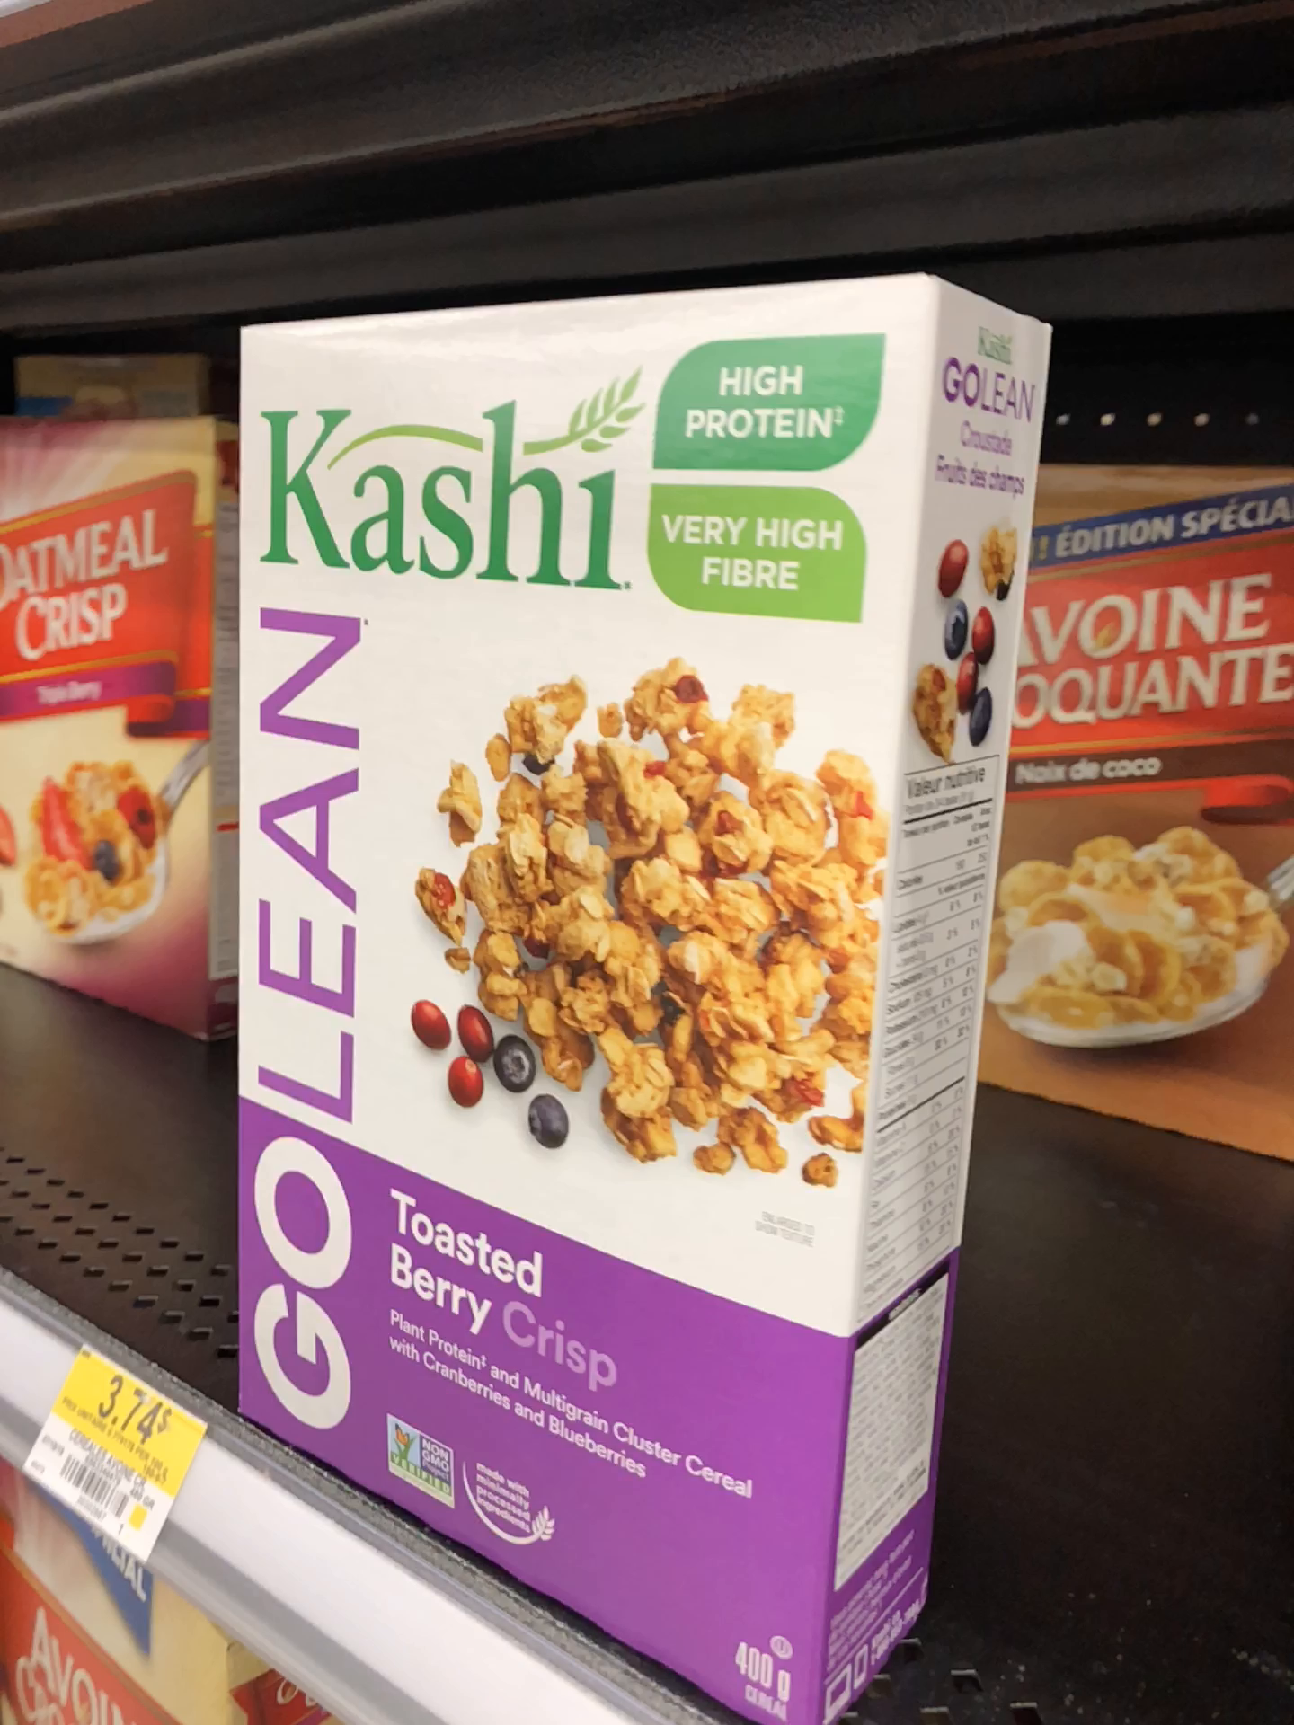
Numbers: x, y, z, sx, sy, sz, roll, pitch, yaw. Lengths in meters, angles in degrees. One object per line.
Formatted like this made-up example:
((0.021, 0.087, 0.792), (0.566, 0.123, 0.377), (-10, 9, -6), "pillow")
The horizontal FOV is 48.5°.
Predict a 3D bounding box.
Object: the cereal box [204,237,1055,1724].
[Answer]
((-0.018, 0.021, 0.308), (0.170, 0.269, 0.050), (11, 14, 34), "cereal box")
